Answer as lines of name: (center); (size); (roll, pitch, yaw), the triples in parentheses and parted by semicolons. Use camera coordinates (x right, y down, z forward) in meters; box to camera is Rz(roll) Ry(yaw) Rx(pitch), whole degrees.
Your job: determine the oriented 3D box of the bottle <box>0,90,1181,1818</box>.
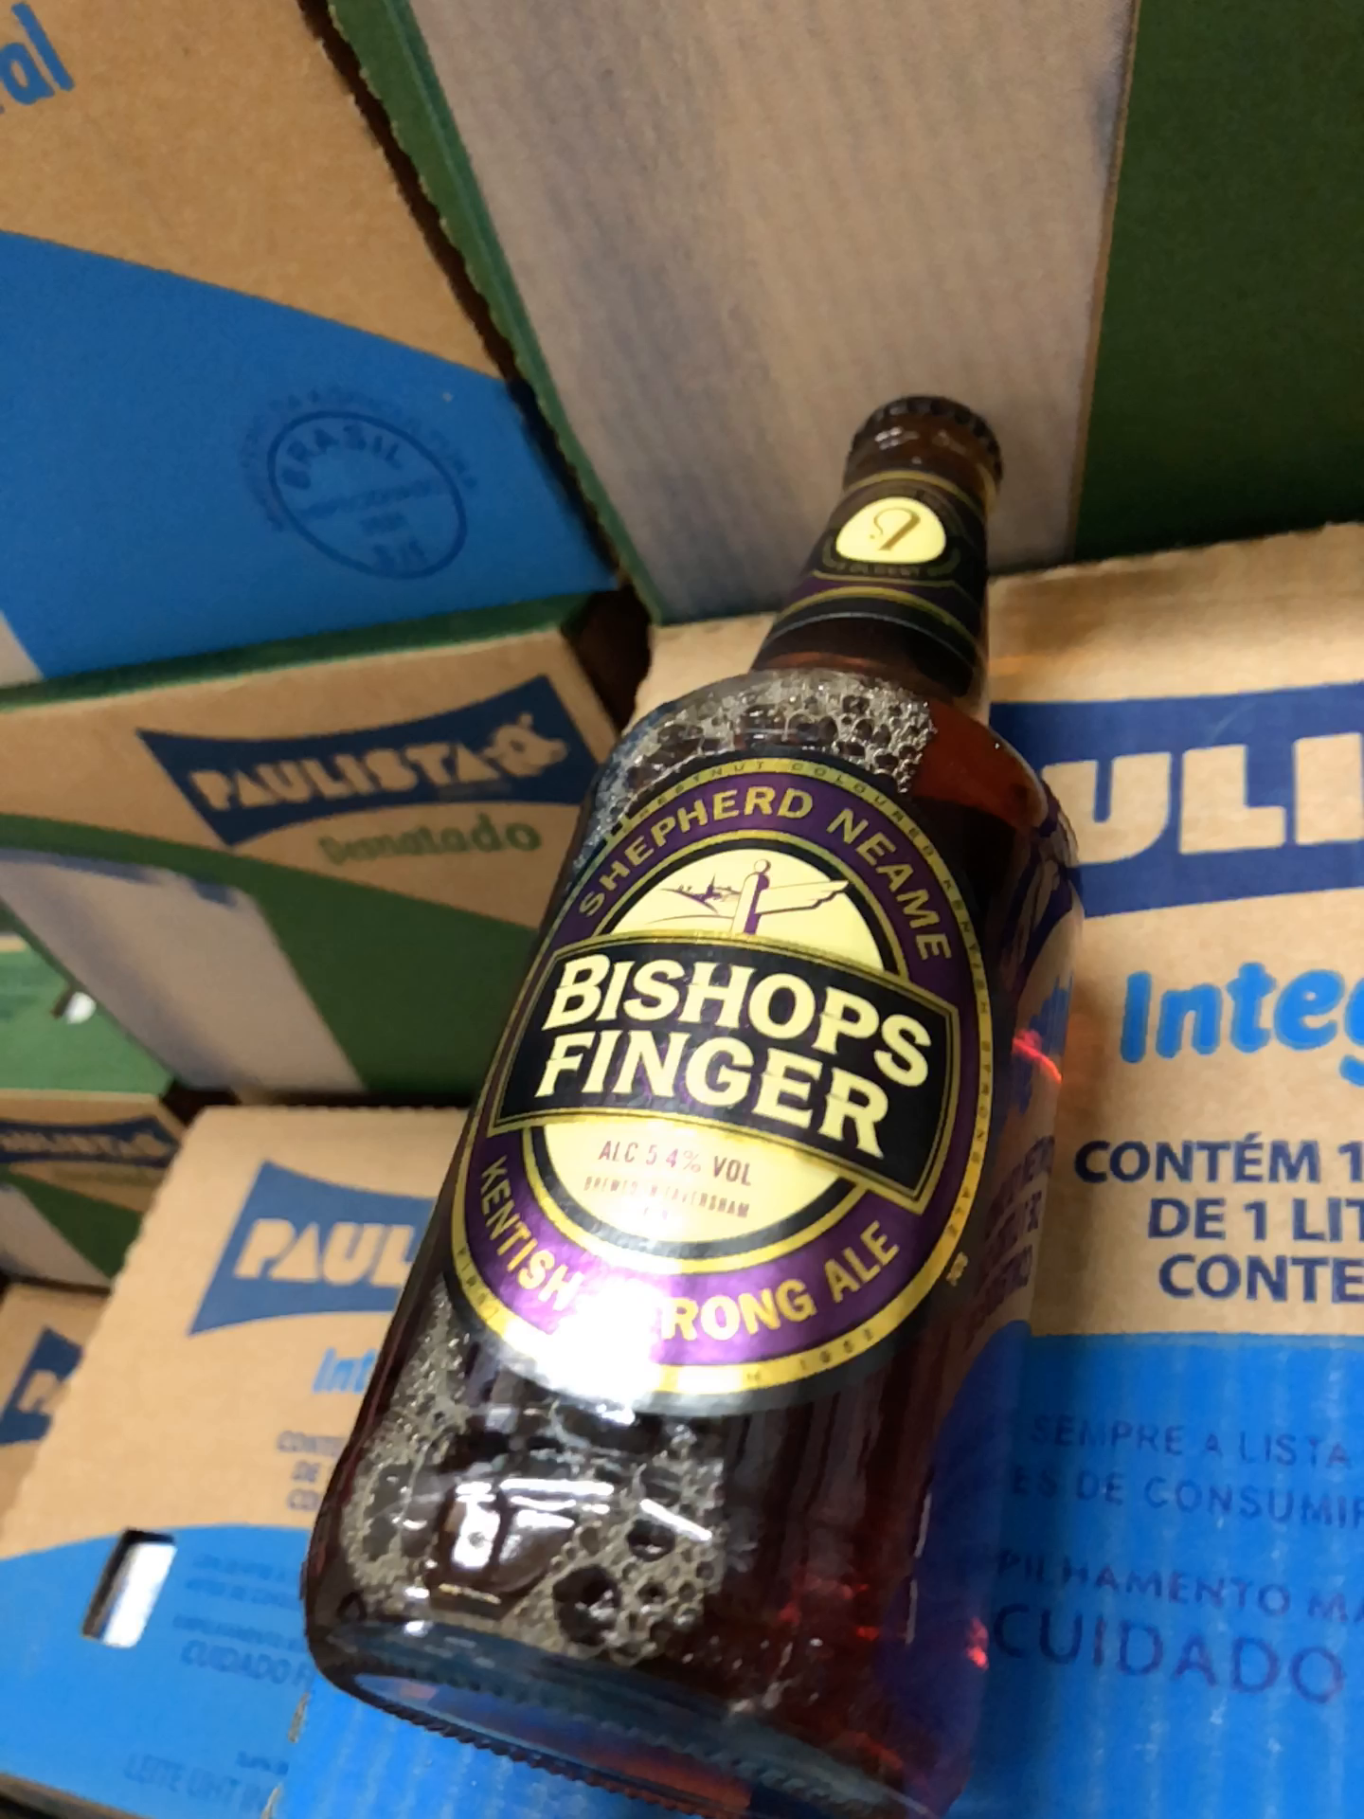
bottle: (0.016, -0.013, 0.218); (0.080, 0.070, 0.251); (-2, 50, 26)
